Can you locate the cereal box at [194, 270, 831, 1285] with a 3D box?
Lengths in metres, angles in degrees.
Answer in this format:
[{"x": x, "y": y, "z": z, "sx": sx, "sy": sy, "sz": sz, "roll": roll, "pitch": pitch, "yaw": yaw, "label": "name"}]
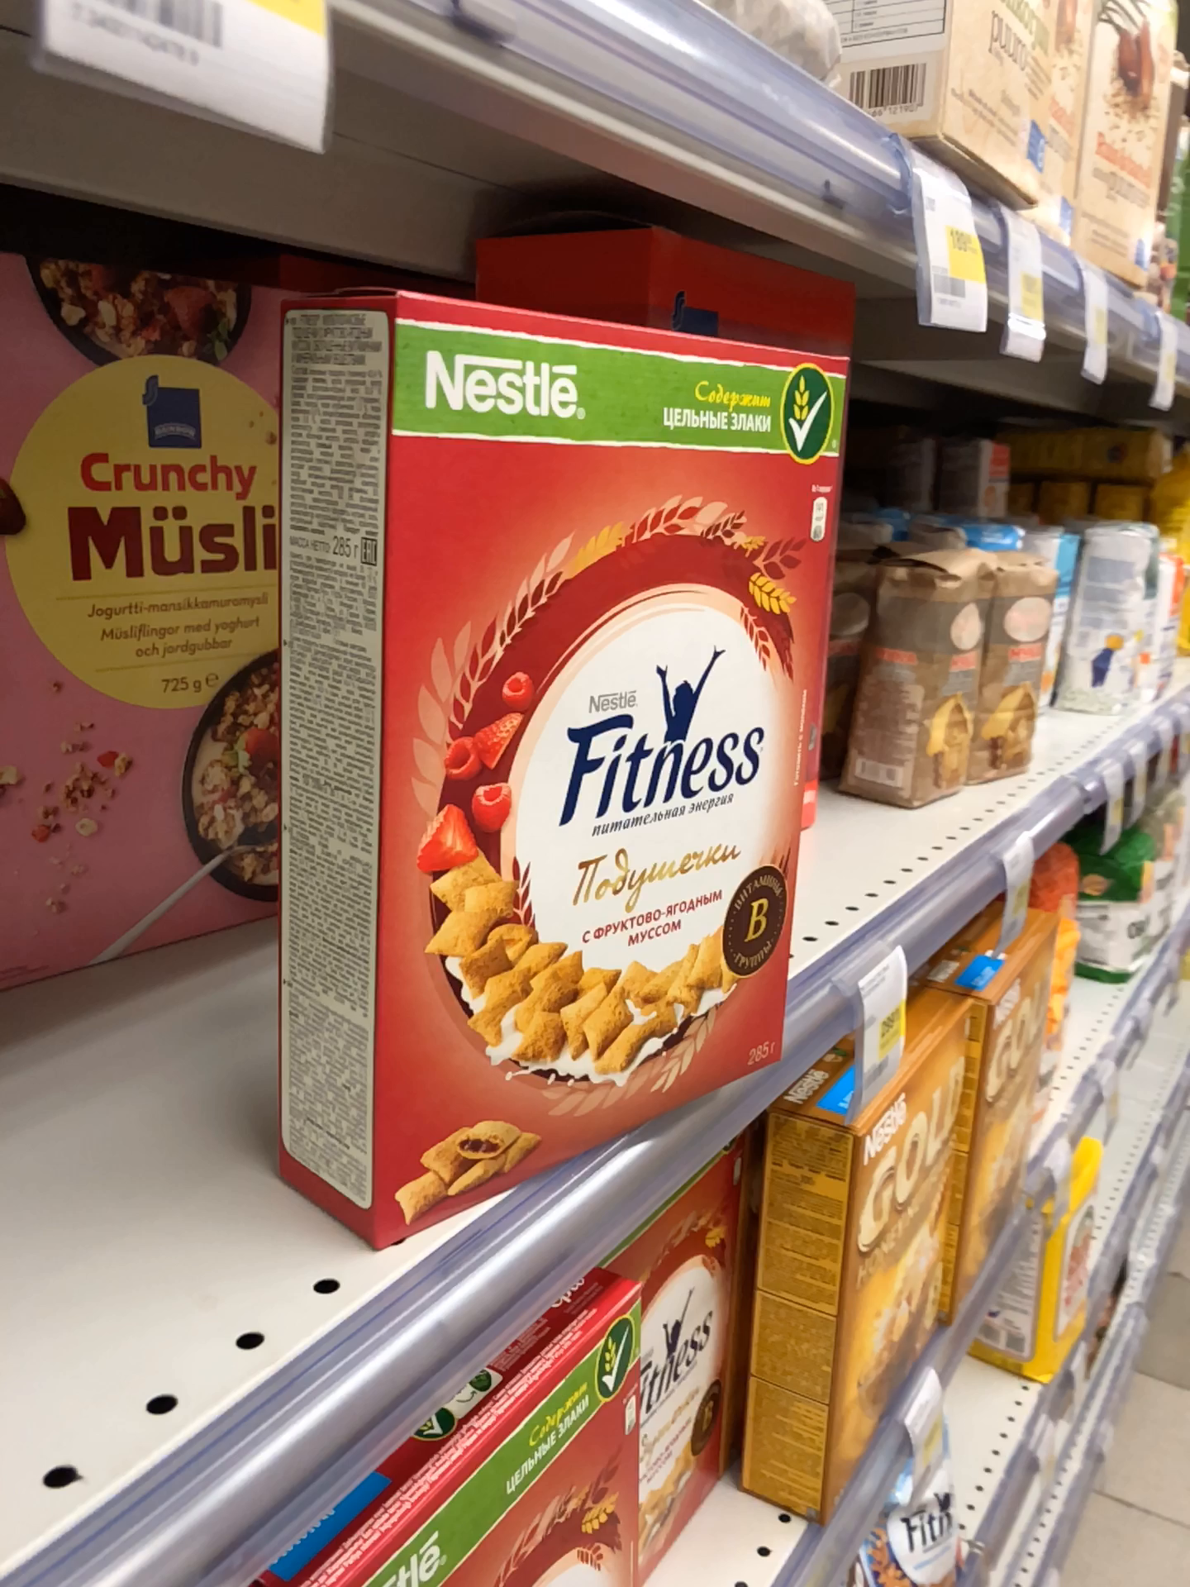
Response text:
[{"x": -0.018, "y": -0.011, "z": 0.379, "sx": 0.180, "sy": 0.239, "sz": 0.050, "roll": -11, "pitch": 21, "yaw": -44, "label": "cereal box"}]
